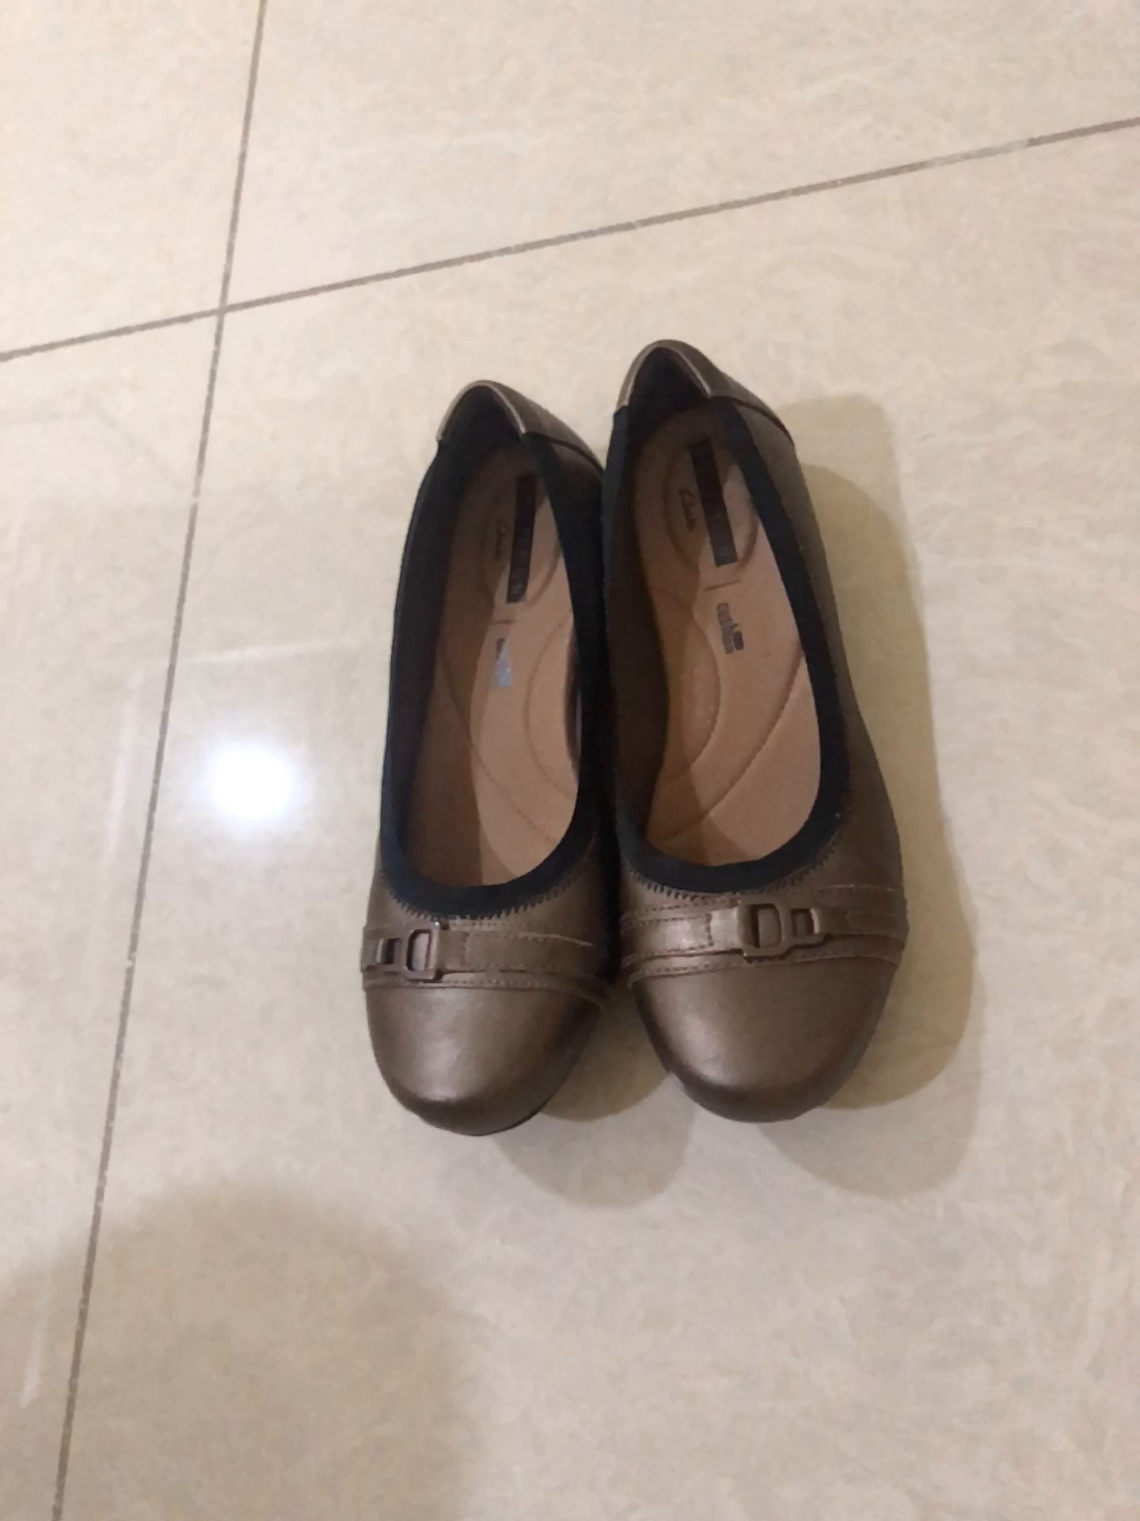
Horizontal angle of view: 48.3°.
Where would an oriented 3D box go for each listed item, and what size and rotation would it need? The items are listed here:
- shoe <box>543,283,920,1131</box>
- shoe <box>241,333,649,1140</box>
[{"bbox_3d":[0.049,-0.019,0.417,0.090,0.070,0.260,-8,68,15],"label":"shoe"},{"bbox_3d":[-0.035,-0.014,0.440,0.100,0.050,0.270,-2,69,17],"label":"shoe"}]
